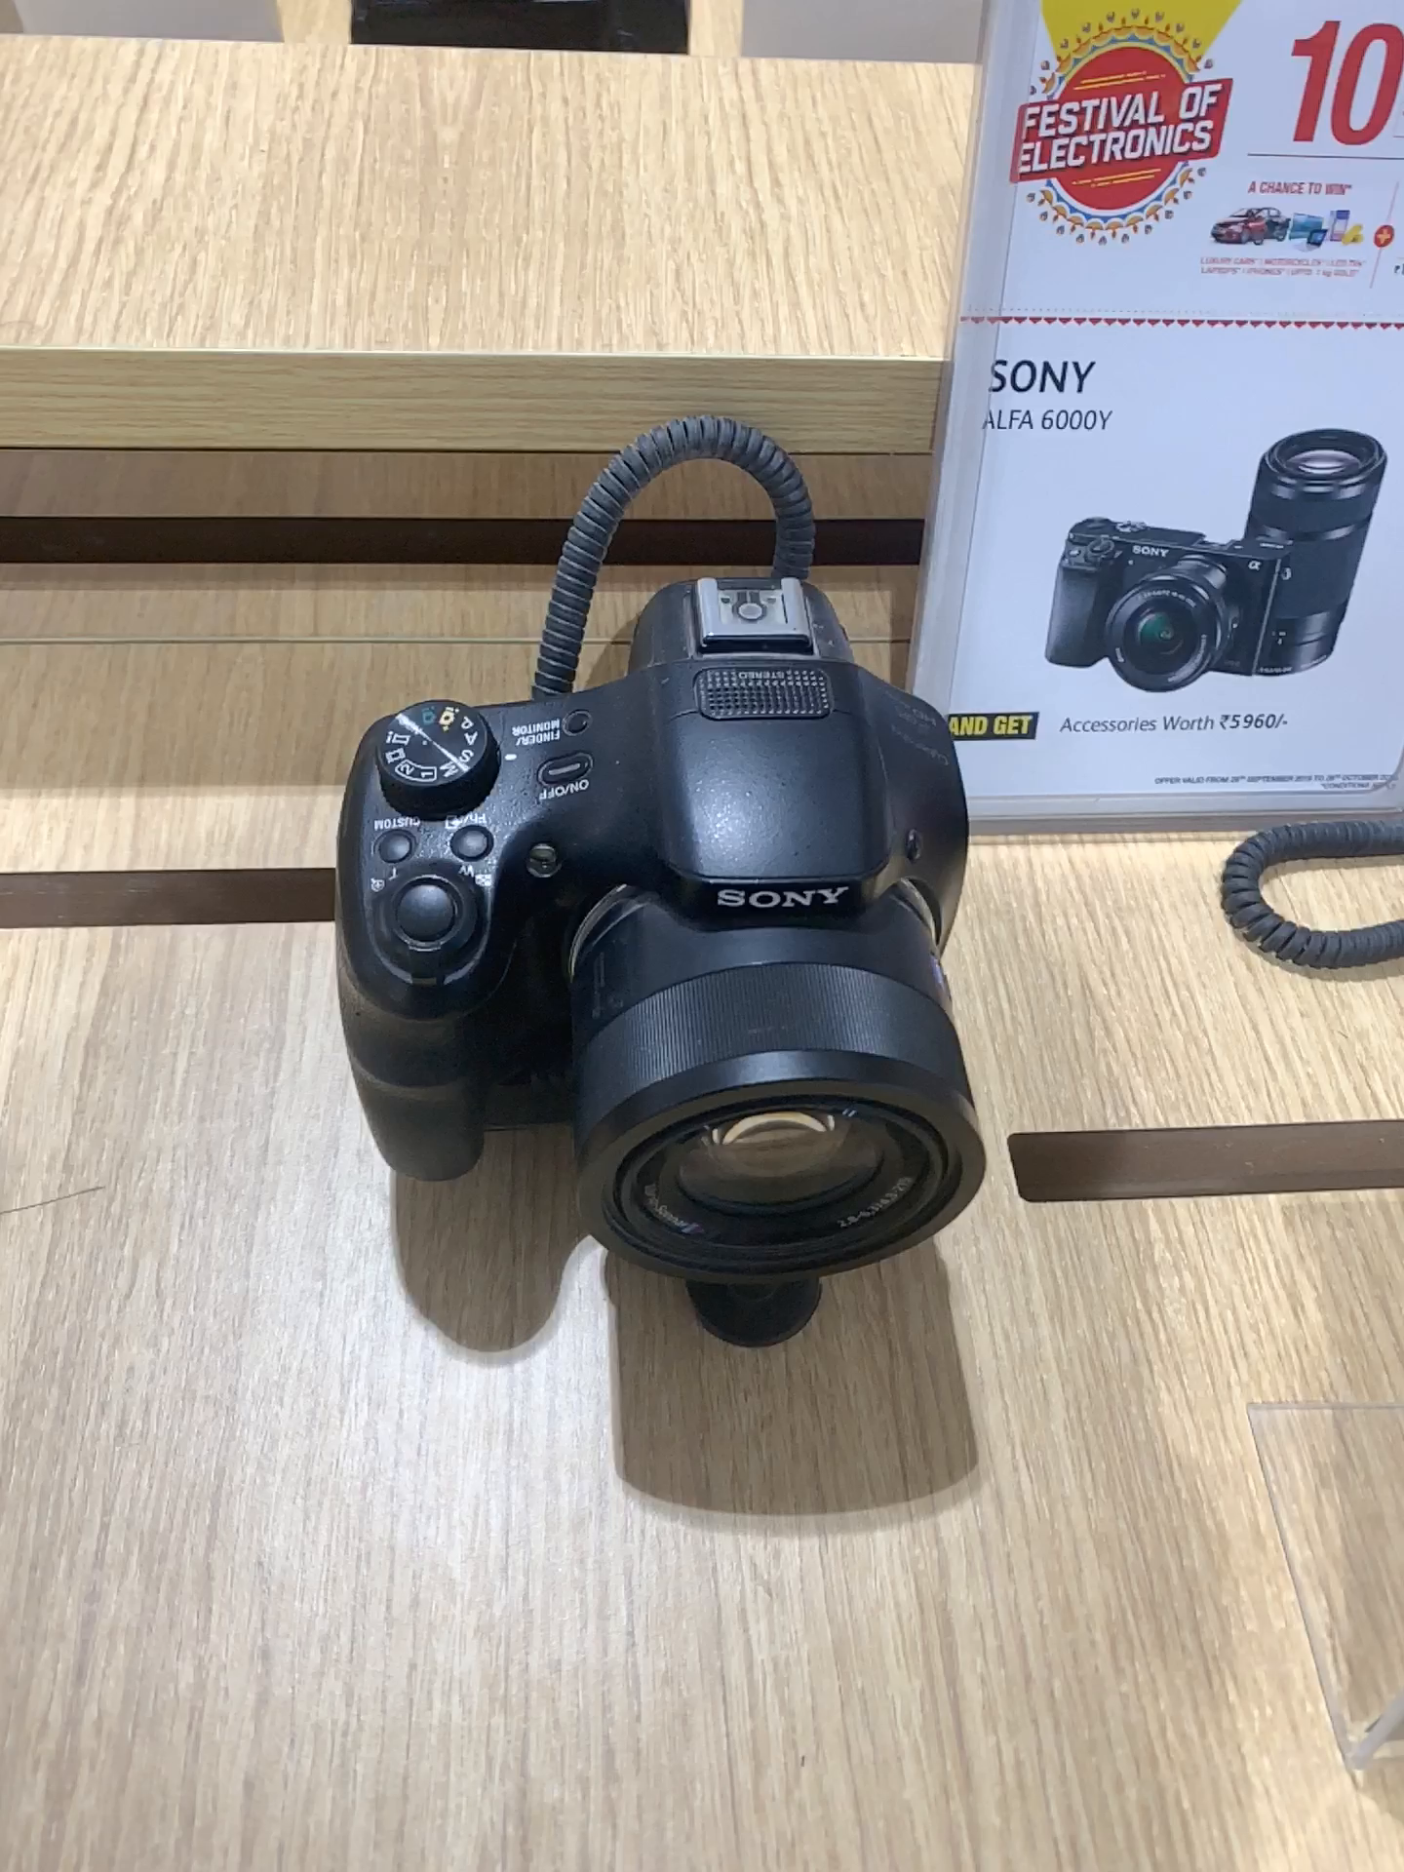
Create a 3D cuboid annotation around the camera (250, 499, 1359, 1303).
[{"bbox_3d":[0.008,-0.005,0.246,0.140,0.100,0.090,-2,53,-6],"label":"camera"}]
